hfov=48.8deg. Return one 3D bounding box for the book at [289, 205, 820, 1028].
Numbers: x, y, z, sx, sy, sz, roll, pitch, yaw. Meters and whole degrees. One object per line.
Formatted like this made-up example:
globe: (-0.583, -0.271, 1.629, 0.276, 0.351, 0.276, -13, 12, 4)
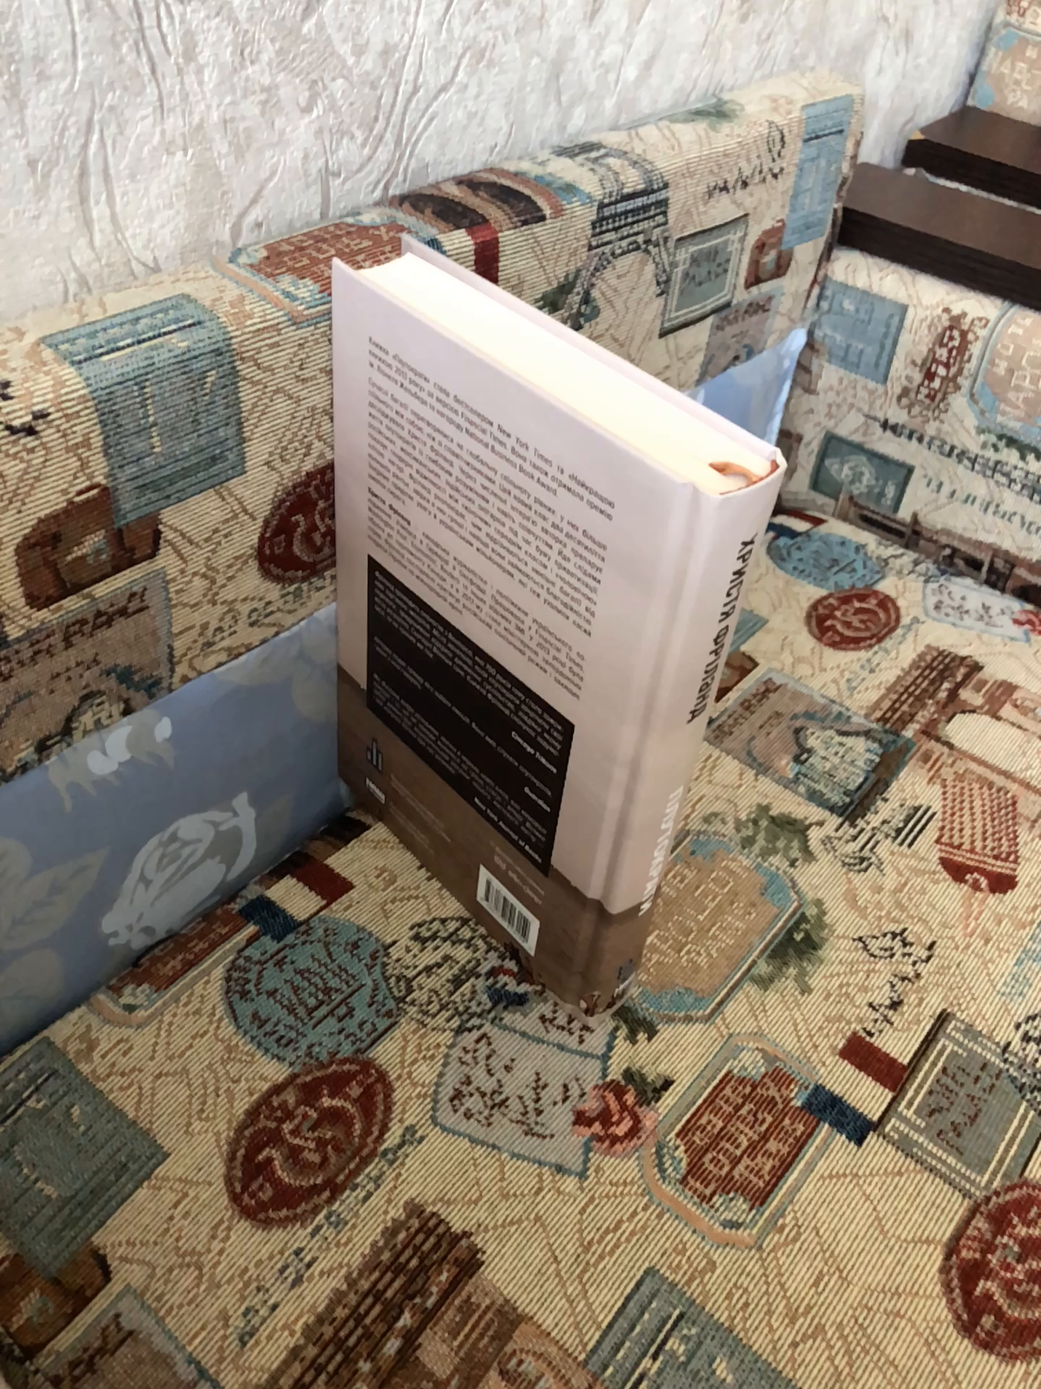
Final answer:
book: (-0.008, -0.019, 0.382, 0.040, 0.218, 0.171, -27, 52, -32)
